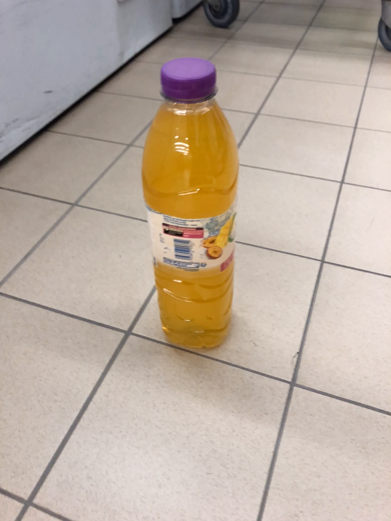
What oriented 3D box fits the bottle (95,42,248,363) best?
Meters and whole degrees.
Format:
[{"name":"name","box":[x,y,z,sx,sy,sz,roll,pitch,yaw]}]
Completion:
[{"name":"bottle","box":[-0.008,-0.034,0.418,0.090,0.298,0.101,7,45,9]}]
